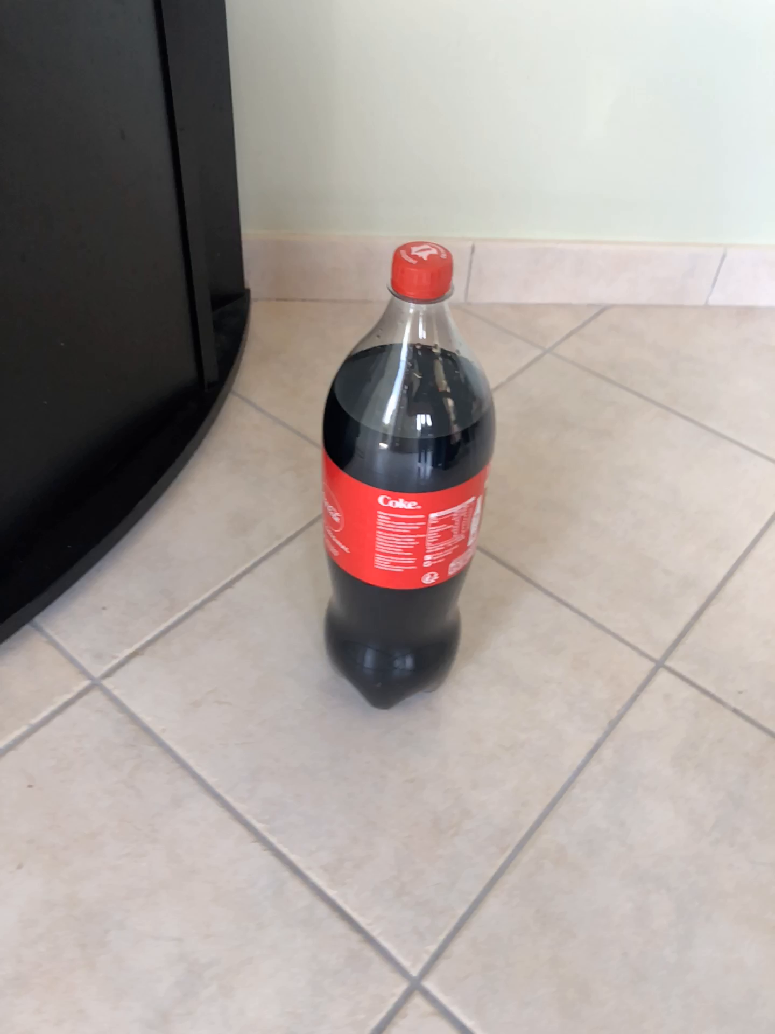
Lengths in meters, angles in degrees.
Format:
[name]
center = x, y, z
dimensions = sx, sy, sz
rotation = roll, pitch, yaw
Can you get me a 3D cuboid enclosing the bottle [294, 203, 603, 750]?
[bottle]
center = 0.021, -0.006, 0.513
dimensions = 0.110, 0.308, 0.101
rotation = 2, 45, -2
